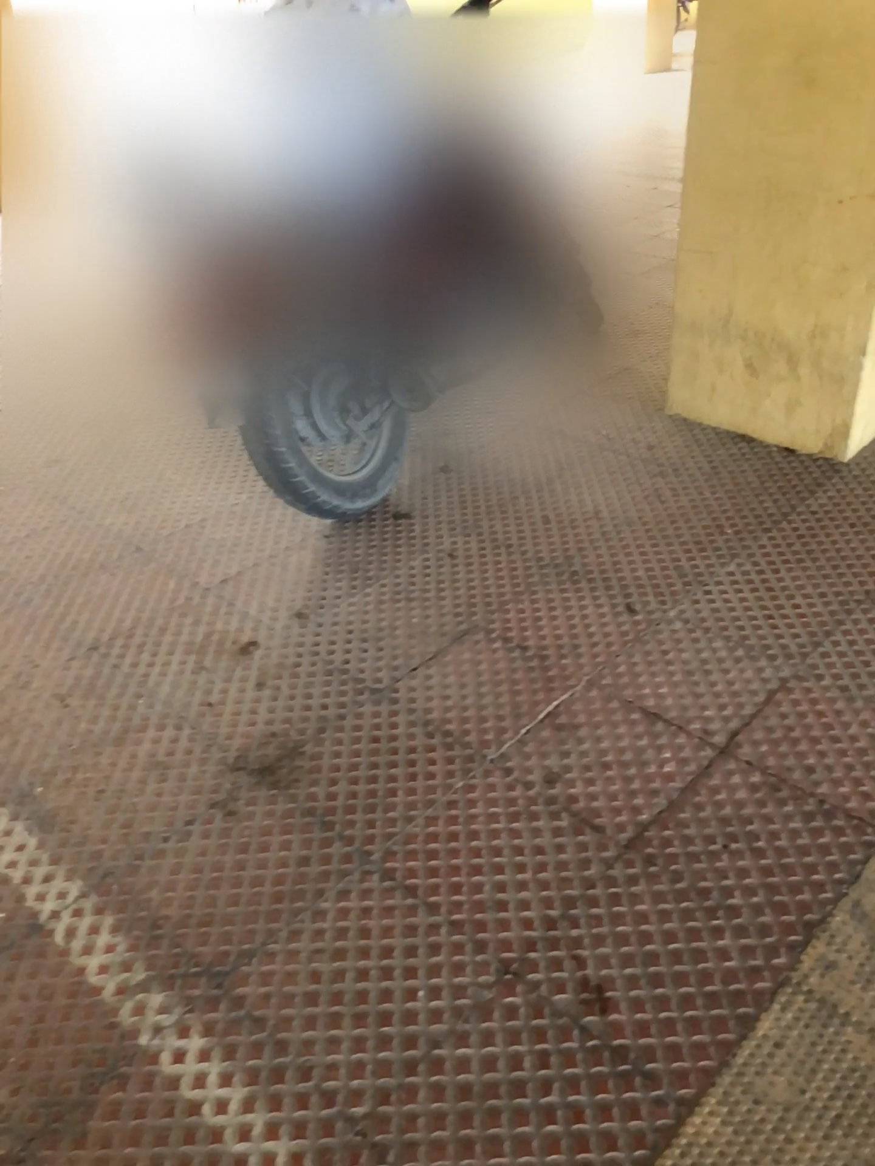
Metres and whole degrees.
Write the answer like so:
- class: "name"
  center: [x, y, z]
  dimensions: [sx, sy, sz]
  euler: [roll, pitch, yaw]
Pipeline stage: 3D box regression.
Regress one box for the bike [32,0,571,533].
- class: "bike"
  center: [-0.182, -1.175, 2.594]
  dimensions: [0.756, 1.049, 1.658]
  euler: [9, 41, 18]
